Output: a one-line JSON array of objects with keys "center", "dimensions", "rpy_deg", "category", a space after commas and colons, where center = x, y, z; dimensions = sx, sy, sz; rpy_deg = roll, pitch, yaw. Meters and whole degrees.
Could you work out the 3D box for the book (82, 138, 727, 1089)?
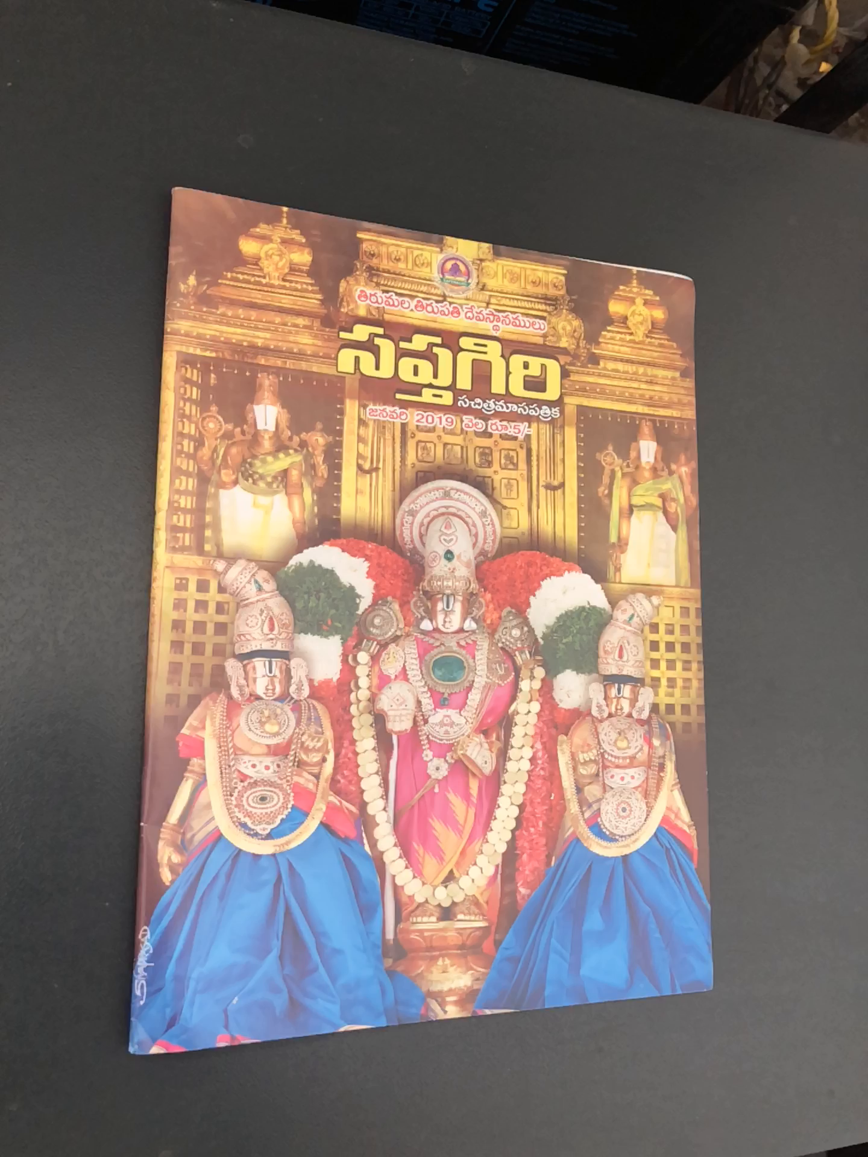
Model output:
[{"center": [-0.002, 0.007, 0.318], "dimensions": [0.200, 0.030, 0.270], "rpy_deg": [3, 82, -19], "category": "book"}]
